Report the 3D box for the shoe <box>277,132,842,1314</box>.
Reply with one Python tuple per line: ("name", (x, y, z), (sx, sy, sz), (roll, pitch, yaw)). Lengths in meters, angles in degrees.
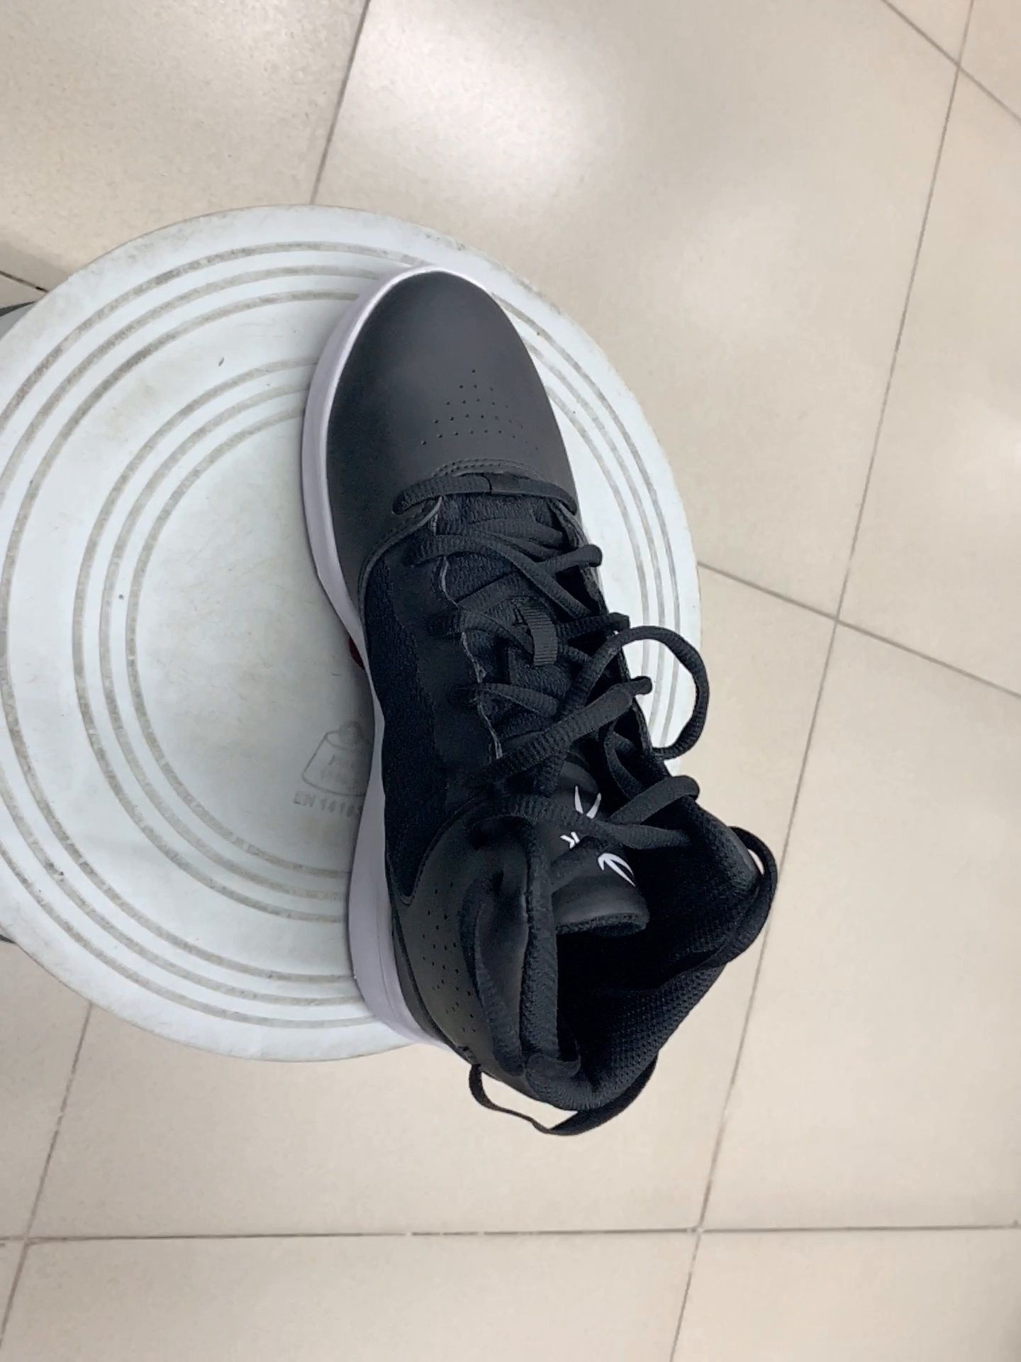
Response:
("shoe", (0.010, 0.008, 0.275), (0.090, 0.100, 0.240), (-8, 96, -30))
